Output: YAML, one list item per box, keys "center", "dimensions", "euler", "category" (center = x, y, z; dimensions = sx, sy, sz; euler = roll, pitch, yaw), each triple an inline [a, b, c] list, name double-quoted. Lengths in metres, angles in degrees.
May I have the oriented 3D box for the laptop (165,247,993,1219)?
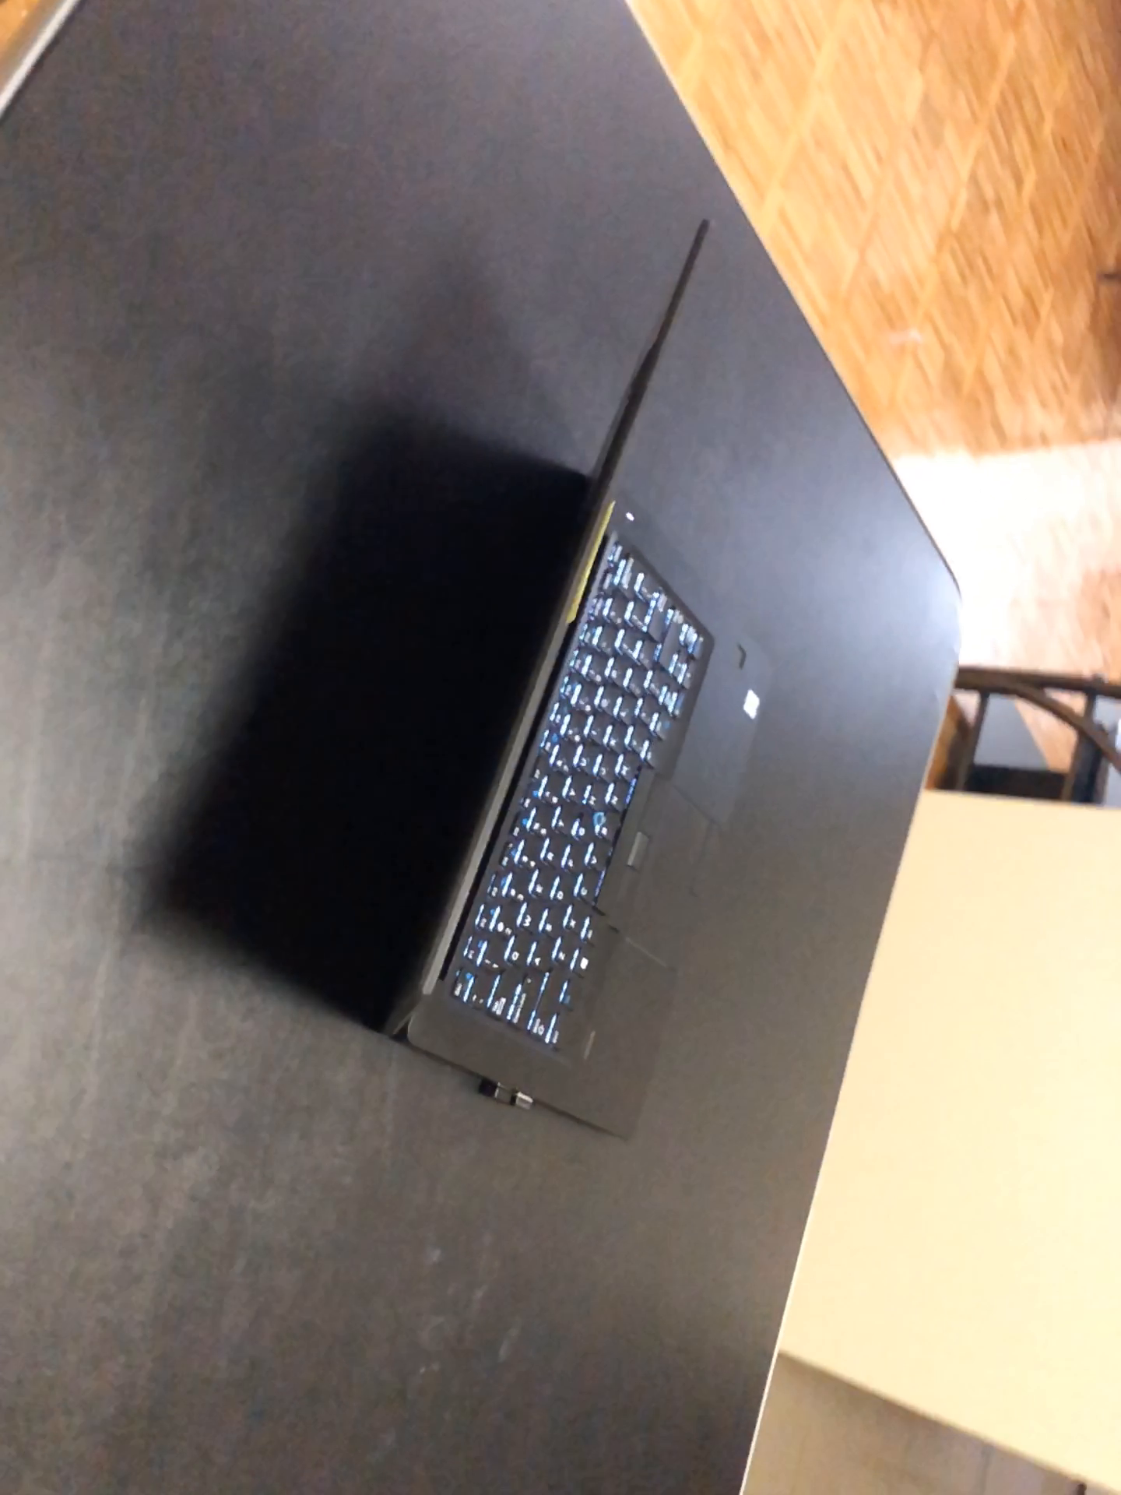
- center: [0.055, 0.019, 0.618]
  dimensions: [0.369, 0.140, 0.320]
  euler: [39, 64, -44]
  category: "laptop"
